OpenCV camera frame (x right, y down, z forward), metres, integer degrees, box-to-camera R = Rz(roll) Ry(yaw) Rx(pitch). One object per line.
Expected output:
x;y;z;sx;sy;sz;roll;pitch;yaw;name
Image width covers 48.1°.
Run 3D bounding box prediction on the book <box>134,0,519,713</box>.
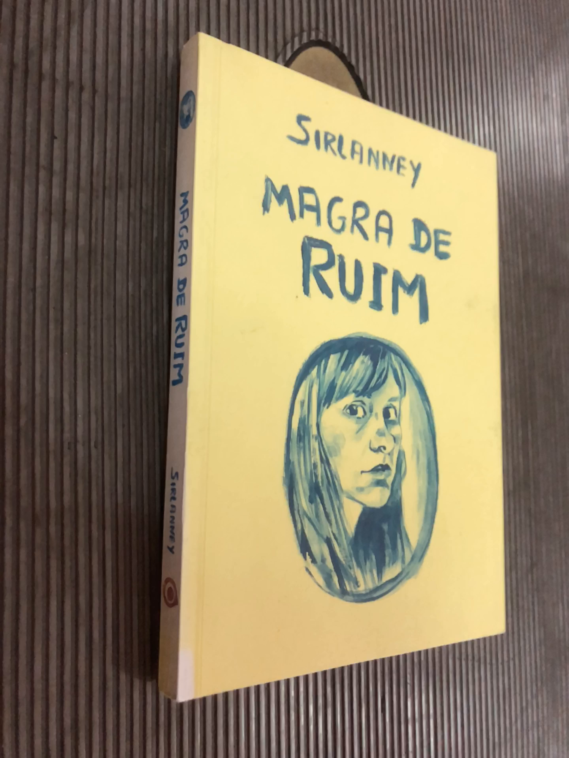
0.028;-0.008;0.230;0.151;0.020;0.210;6;83;-33;book
